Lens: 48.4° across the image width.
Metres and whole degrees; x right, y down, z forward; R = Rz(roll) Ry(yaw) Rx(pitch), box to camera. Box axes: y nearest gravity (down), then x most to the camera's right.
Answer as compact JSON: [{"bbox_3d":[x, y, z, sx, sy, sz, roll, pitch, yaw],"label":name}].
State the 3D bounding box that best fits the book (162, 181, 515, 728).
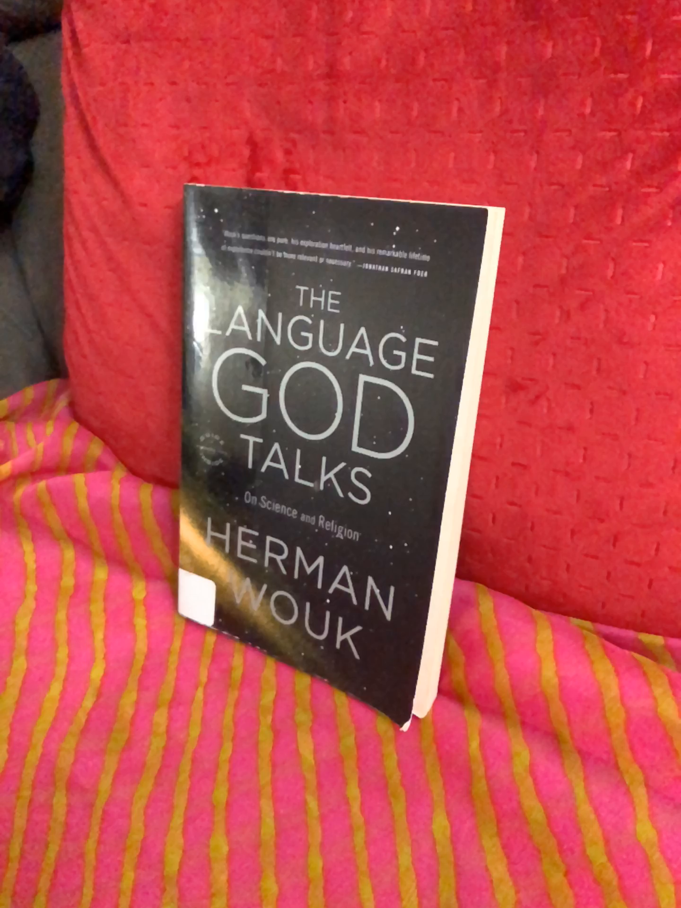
[{"bbox_3d":[-0.013,-0.004,0.318,0.138,0.199,0.030,16,21,30],"label":"book"}]
